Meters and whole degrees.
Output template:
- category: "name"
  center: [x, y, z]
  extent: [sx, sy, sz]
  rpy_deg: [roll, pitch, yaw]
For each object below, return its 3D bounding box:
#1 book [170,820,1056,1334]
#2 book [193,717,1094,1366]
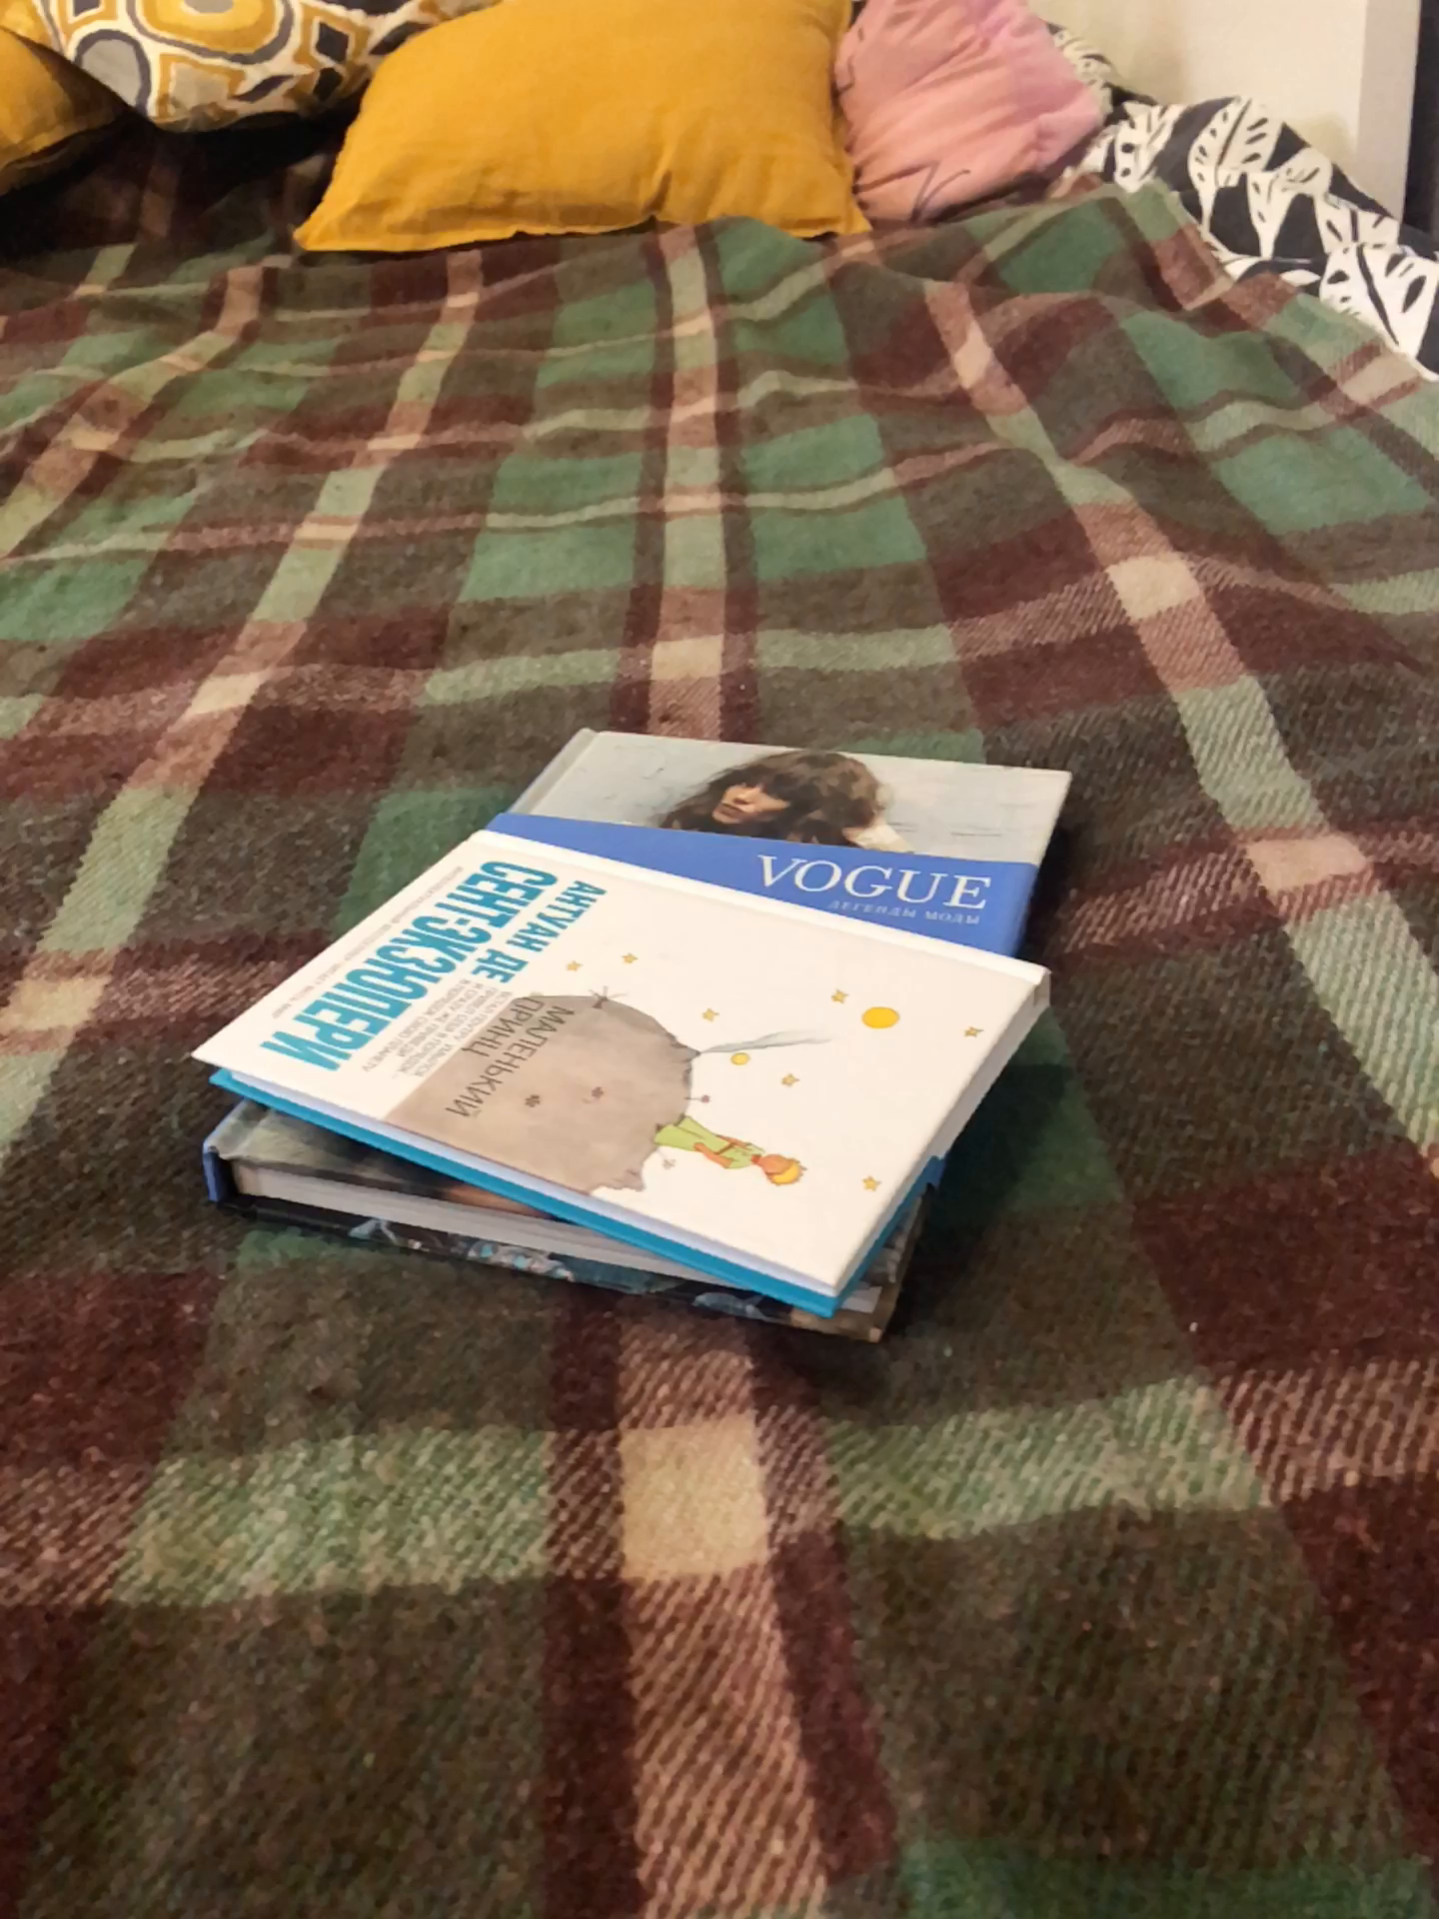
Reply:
- category: "book"
  center: [-0.023, 0.015, 0.377]
  extent: [0.170, 0.014, 0.120]
  rpy_deg: [15, 37, 27]
- category: "book"
  center: [-0.001, 0.000, 0.449]
  extent: [0.174, 0.023, 0.241]
  rpy_deg: [8, 35, 18]
